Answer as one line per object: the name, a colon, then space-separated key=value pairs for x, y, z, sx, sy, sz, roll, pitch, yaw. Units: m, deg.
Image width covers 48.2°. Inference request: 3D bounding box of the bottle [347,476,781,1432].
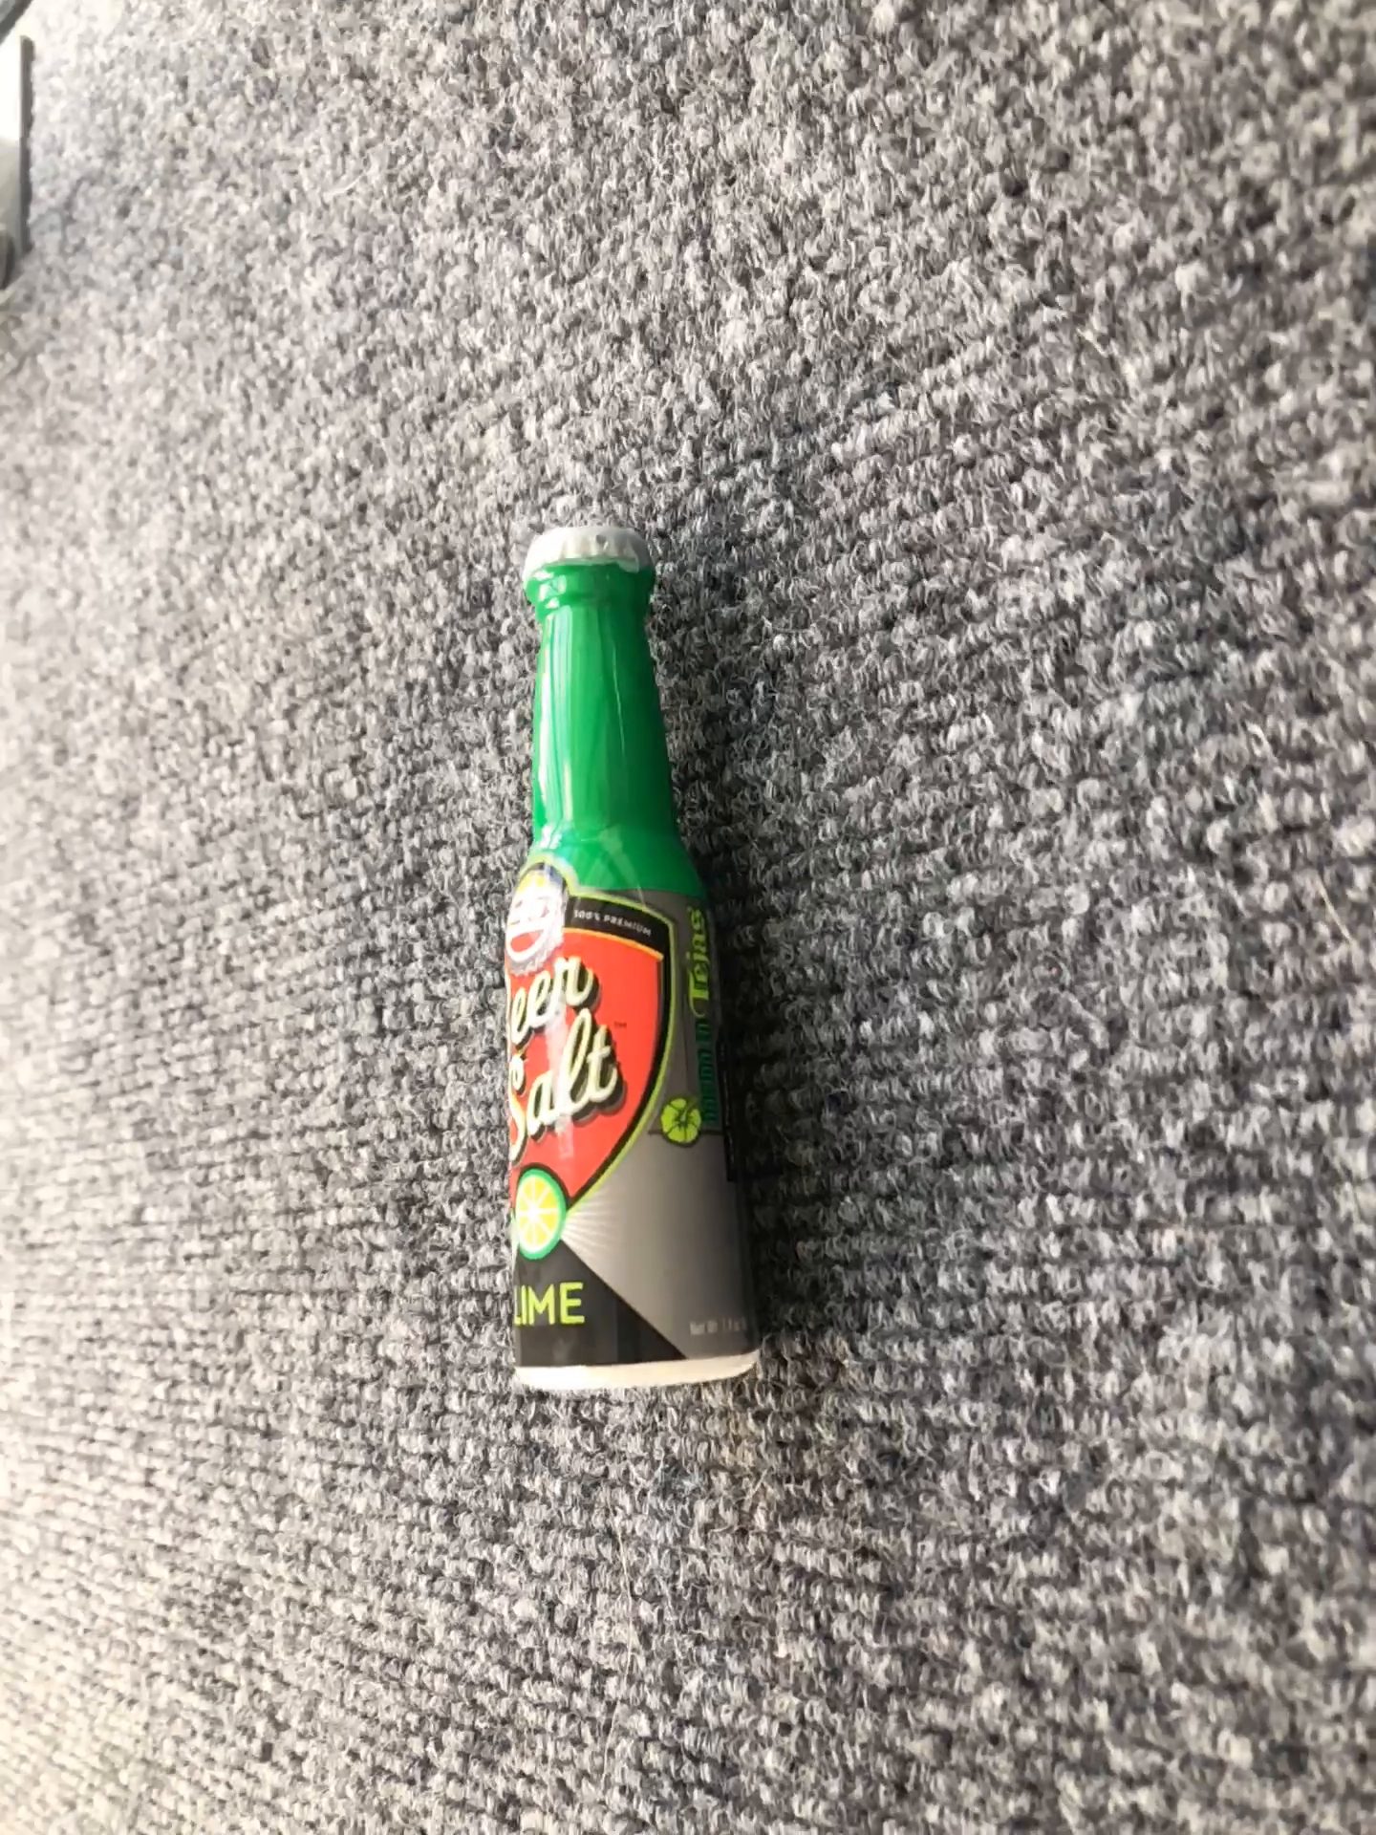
bottle: x=-0.016 y=0.005 z=0.181 sx=0.033 sy=0.030 sz=0.101 roll=-17 pitch=74 yaw=45
